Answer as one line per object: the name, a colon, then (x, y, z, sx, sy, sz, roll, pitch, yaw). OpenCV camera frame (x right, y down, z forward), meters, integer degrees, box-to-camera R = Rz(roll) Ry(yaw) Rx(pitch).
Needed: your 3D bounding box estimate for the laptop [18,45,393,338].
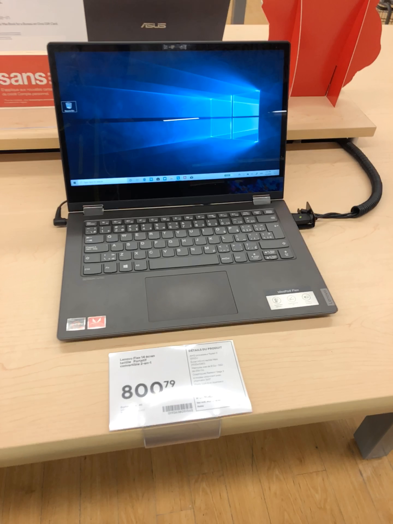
laptop: (-0.008, -0.107, 0.530, 0.319, 0.198, 0.307, -4, 45, -8)
